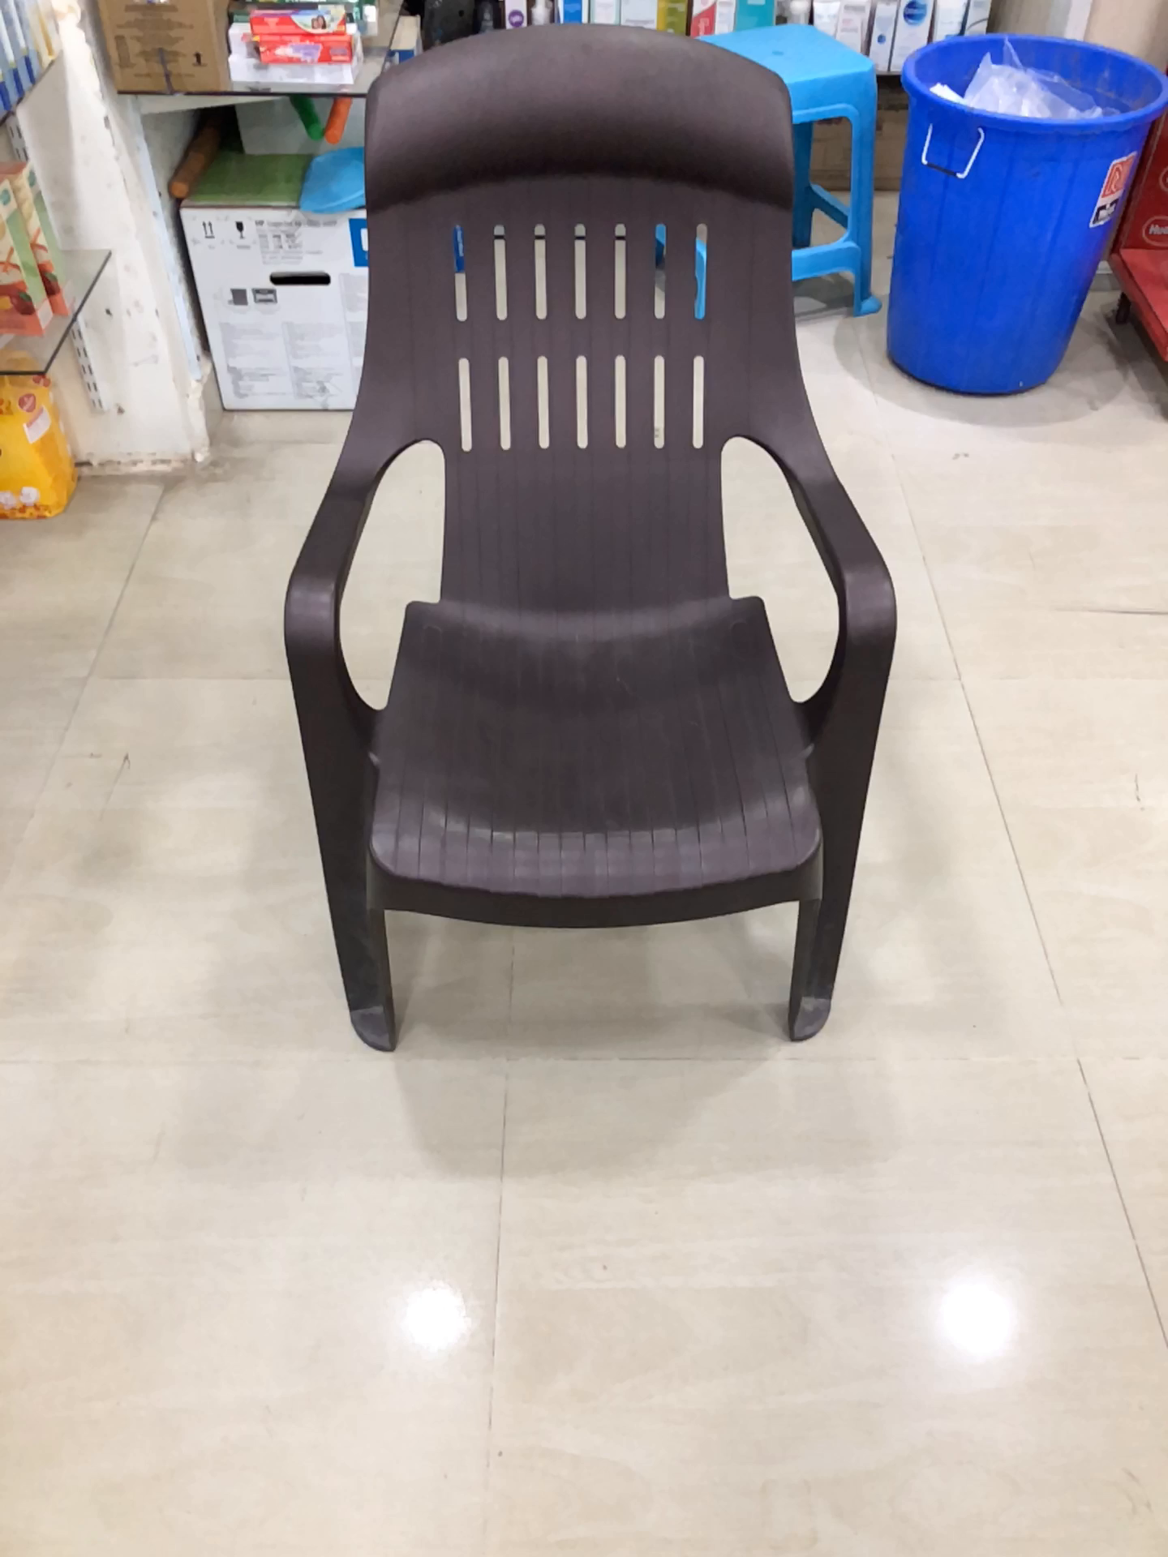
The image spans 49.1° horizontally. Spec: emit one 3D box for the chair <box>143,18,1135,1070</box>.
[{"bbox_3d":[0.026,-0.229,1.352,0.630,0.844,0.684,-1,45,-2],"label":"chair"}]
